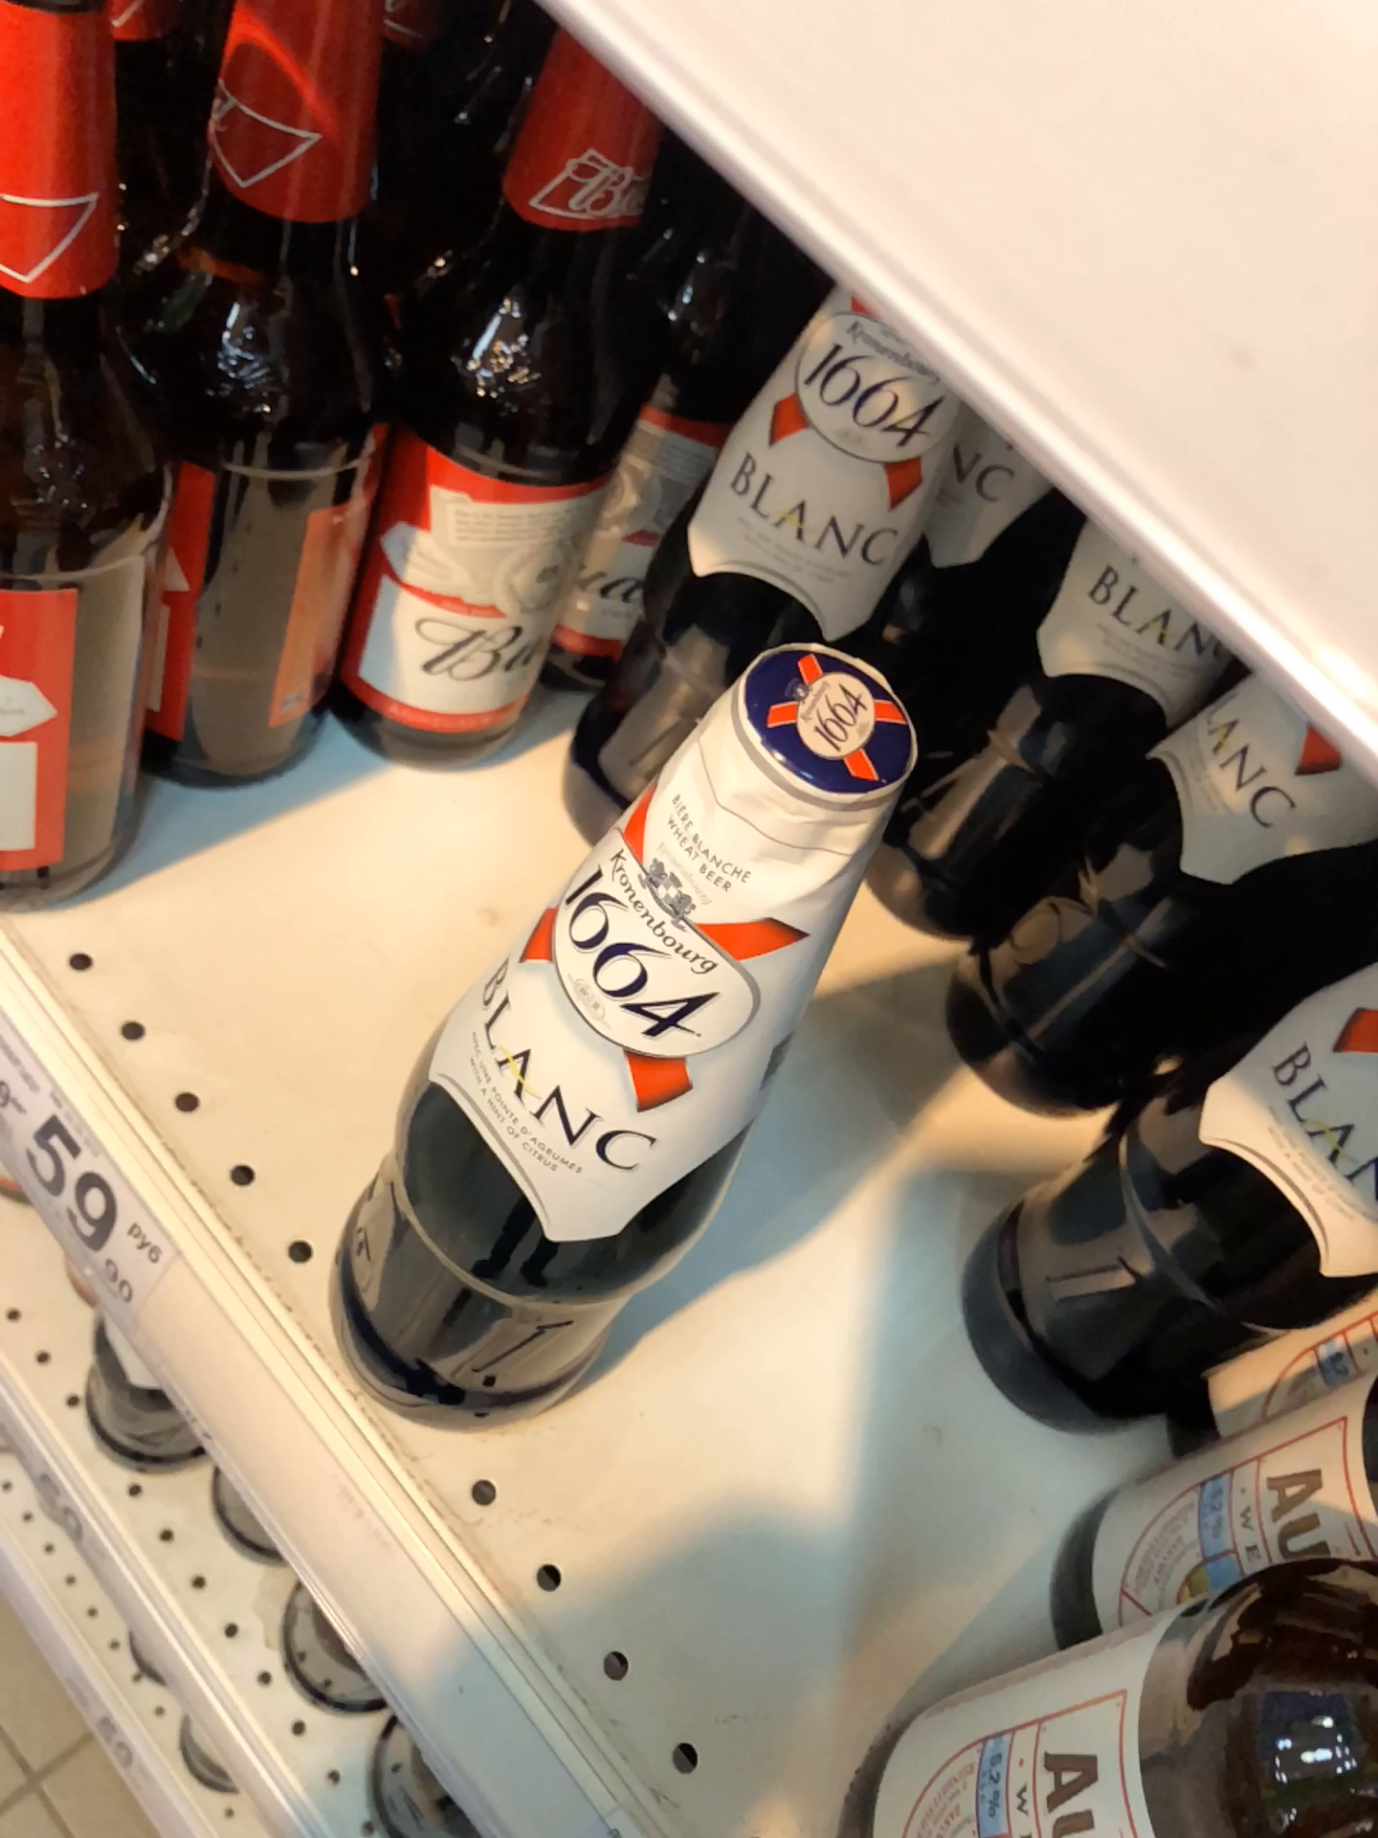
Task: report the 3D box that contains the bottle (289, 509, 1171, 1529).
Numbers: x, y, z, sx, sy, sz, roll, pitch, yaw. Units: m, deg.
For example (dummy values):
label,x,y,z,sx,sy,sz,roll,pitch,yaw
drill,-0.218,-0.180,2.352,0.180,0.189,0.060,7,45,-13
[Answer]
label,x,y,z,sx,sy,sz,roll,pitch,yaw
bottle,-0.015,0.040,0.311,0.070,0.234,0.080,-26,69,-35
